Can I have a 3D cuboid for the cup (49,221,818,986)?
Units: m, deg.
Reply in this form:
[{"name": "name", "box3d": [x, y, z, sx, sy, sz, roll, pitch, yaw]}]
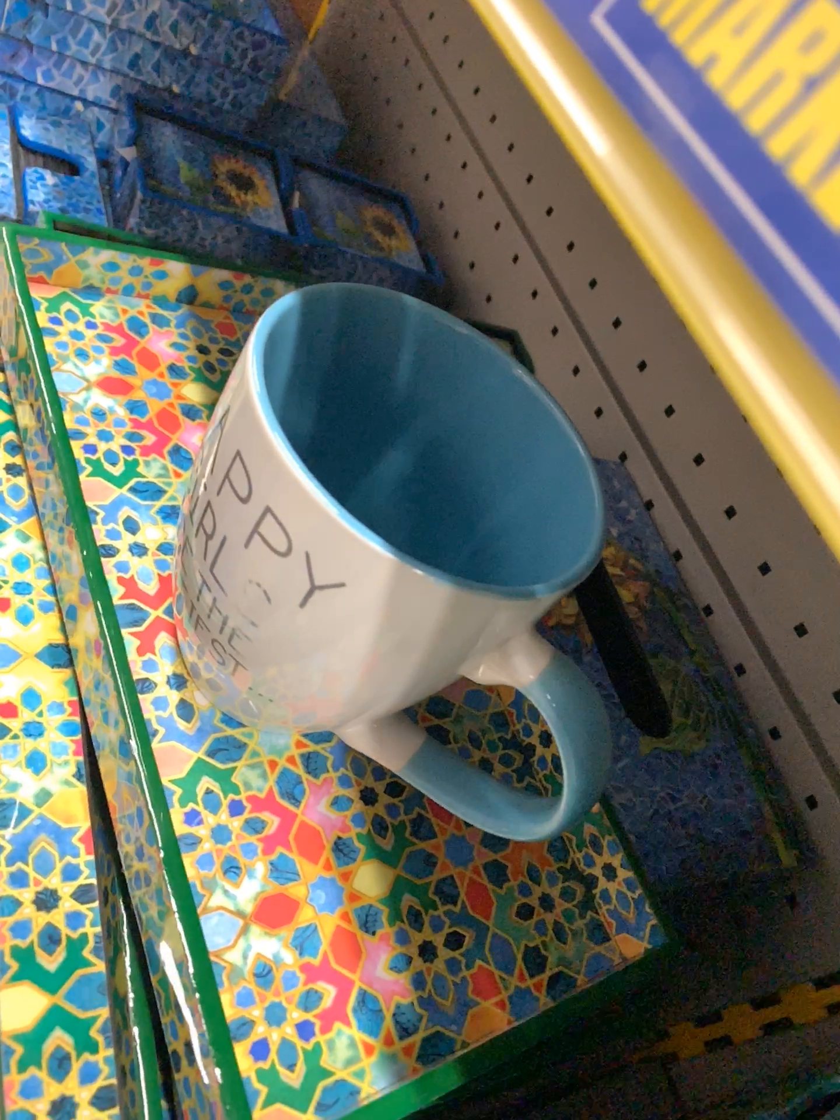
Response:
[{"name": "cup", "box3d": [0.000, 0.001, 0.241, 0.120, 0.100, 0.150, -19, 67, -47]}]
